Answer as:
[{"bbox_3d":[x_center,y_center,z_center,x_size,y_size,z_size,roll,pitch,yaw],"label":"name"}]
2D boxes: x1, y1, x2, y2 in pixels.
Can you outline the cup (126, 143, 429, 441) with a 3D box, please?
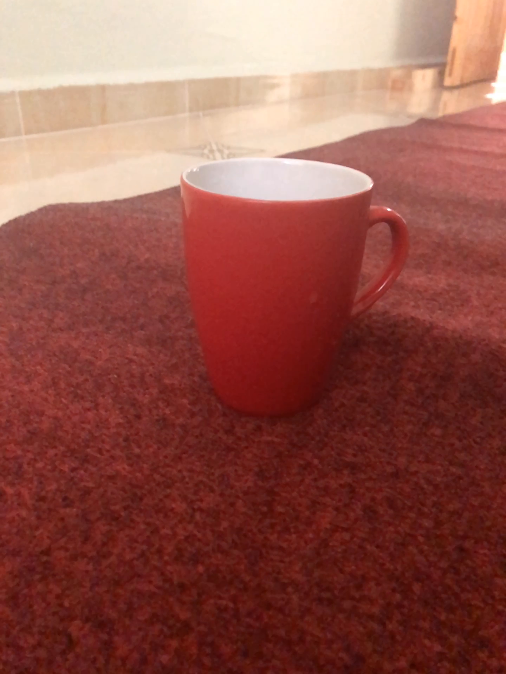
[{"bbox_3d":[0.013,-0.031,0.263,0.078,0.094,0.109,25,36,37],"label":"cup"}]
